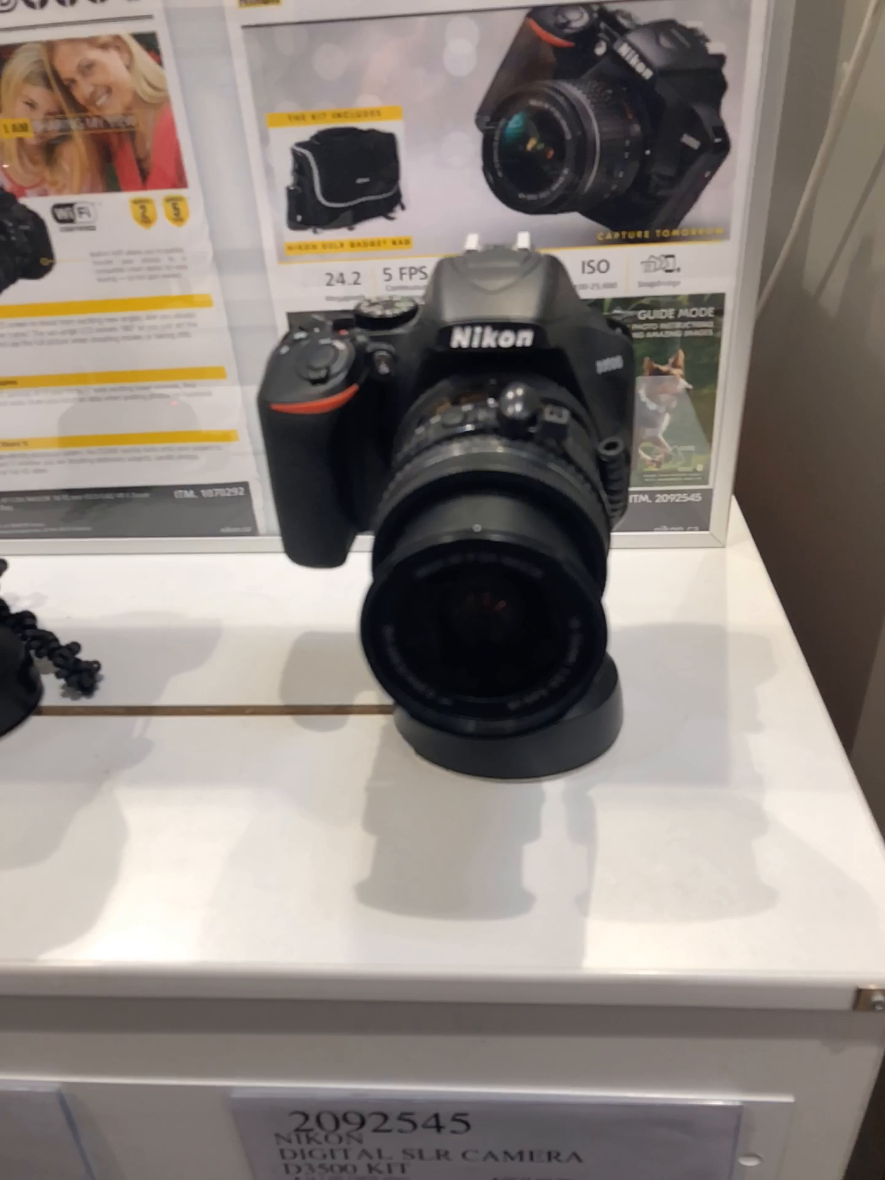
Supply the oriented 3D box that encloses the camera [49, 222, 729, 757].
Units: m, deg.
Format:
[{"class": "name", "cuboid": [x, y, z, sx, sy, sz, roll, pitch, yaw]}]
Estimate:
[{"class": "camera", "cuboid": [-0.005, -0.037, 0.266, 0.130, 0.089, 0.141, 0, 33, 5]}]
